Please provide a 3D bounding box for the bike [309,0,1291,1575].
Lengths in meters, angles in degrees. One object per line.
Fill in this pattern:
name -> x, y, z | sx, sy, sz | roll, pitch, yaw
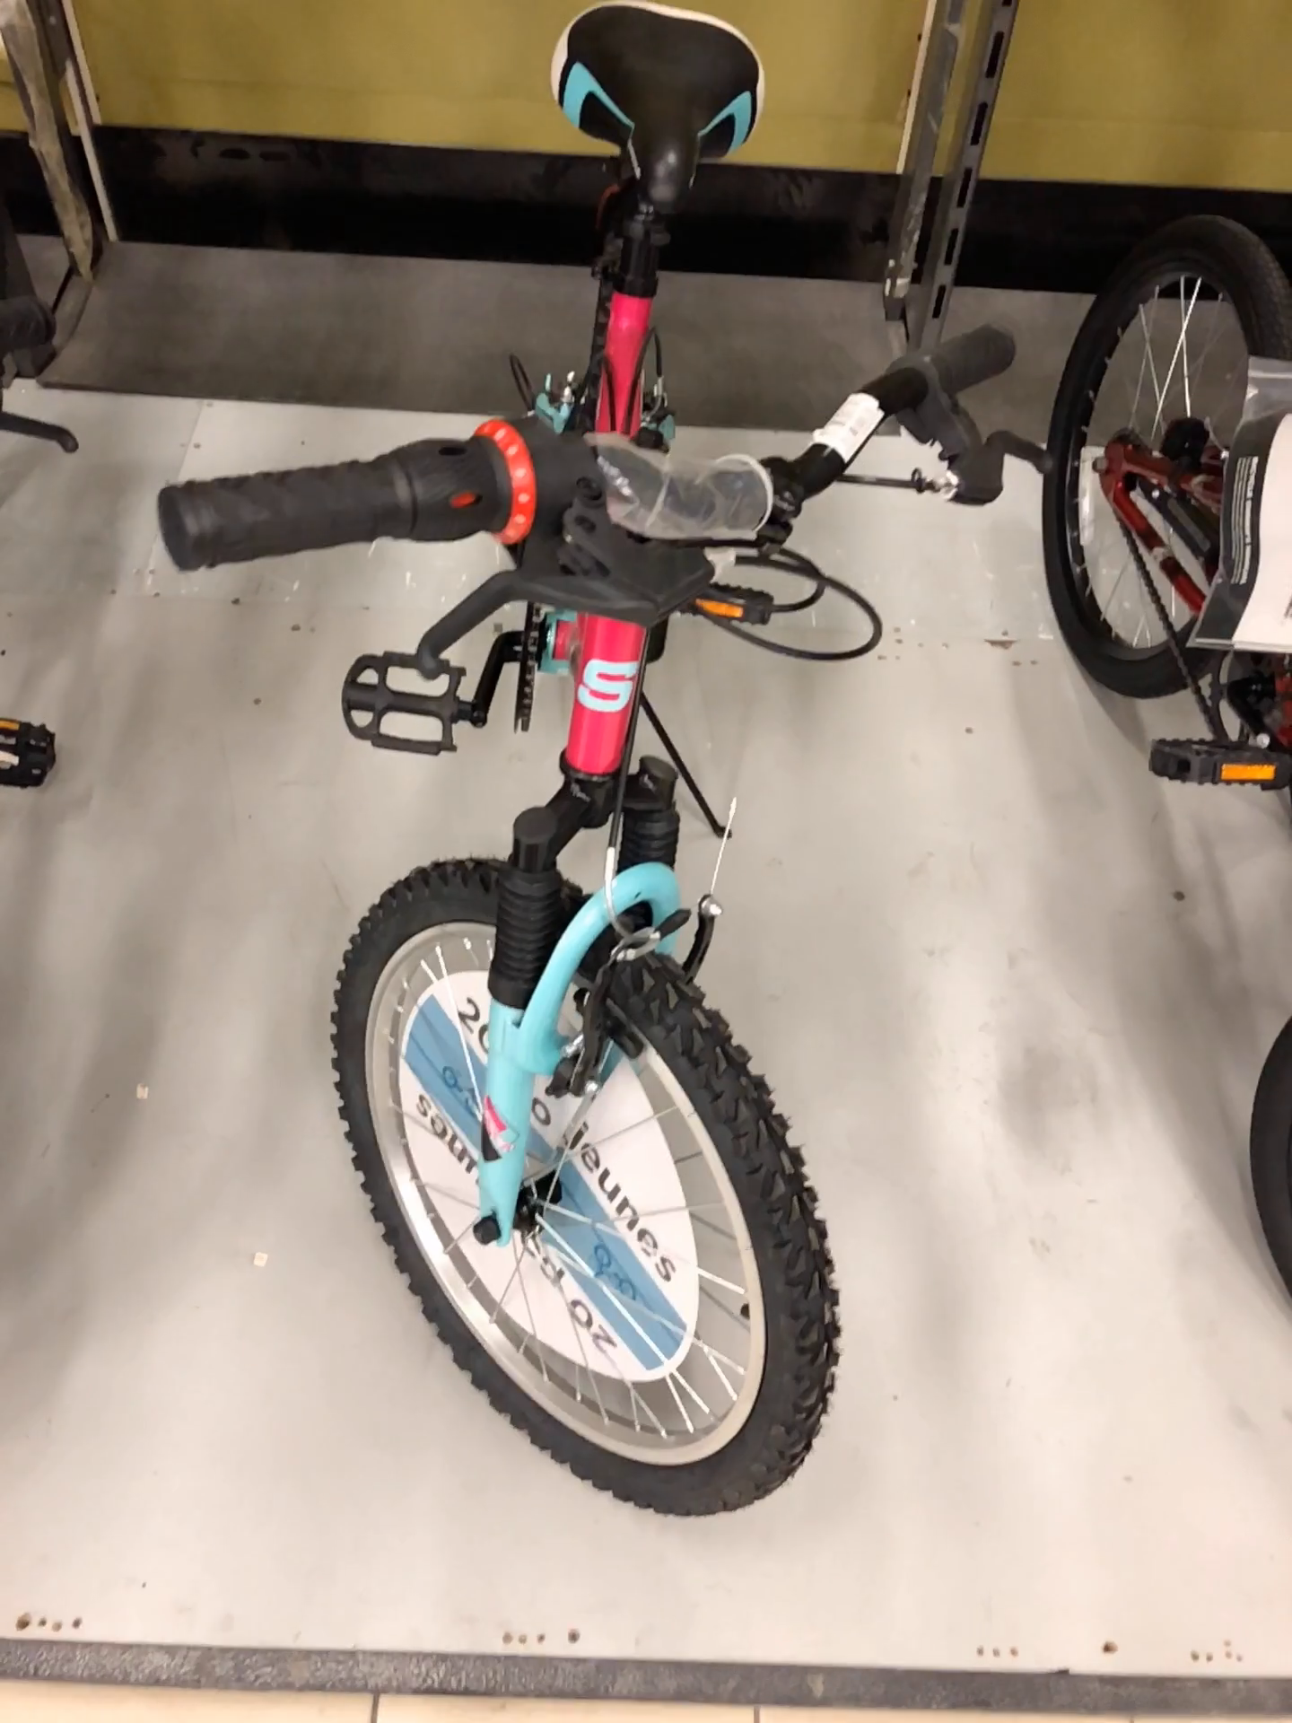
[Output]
bike -> 0.090, -0.191, 1.116 | 0.562, 0.764, 1.219 | -3, 57, -5
